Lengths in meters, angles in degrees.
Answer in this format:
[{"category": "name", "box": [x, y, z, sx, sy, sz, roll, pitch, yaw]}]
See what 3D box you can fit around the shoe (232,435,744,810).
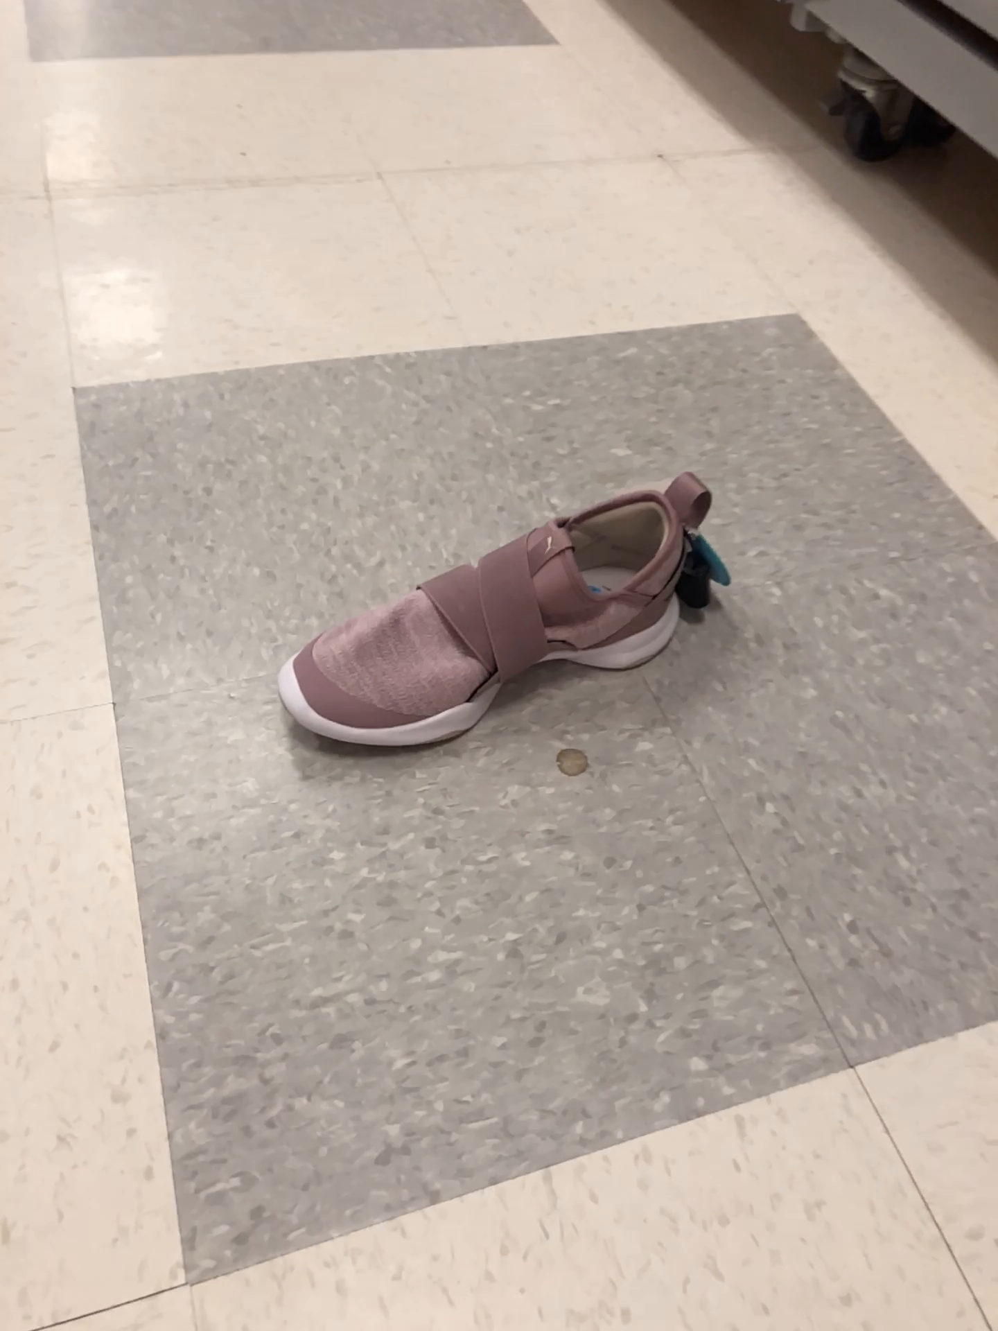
[{"category": "shoe", "box": [-0.004, -0.034, 0.648, 0.272, 0.093, 0.105, -22, 55, -24]}]
